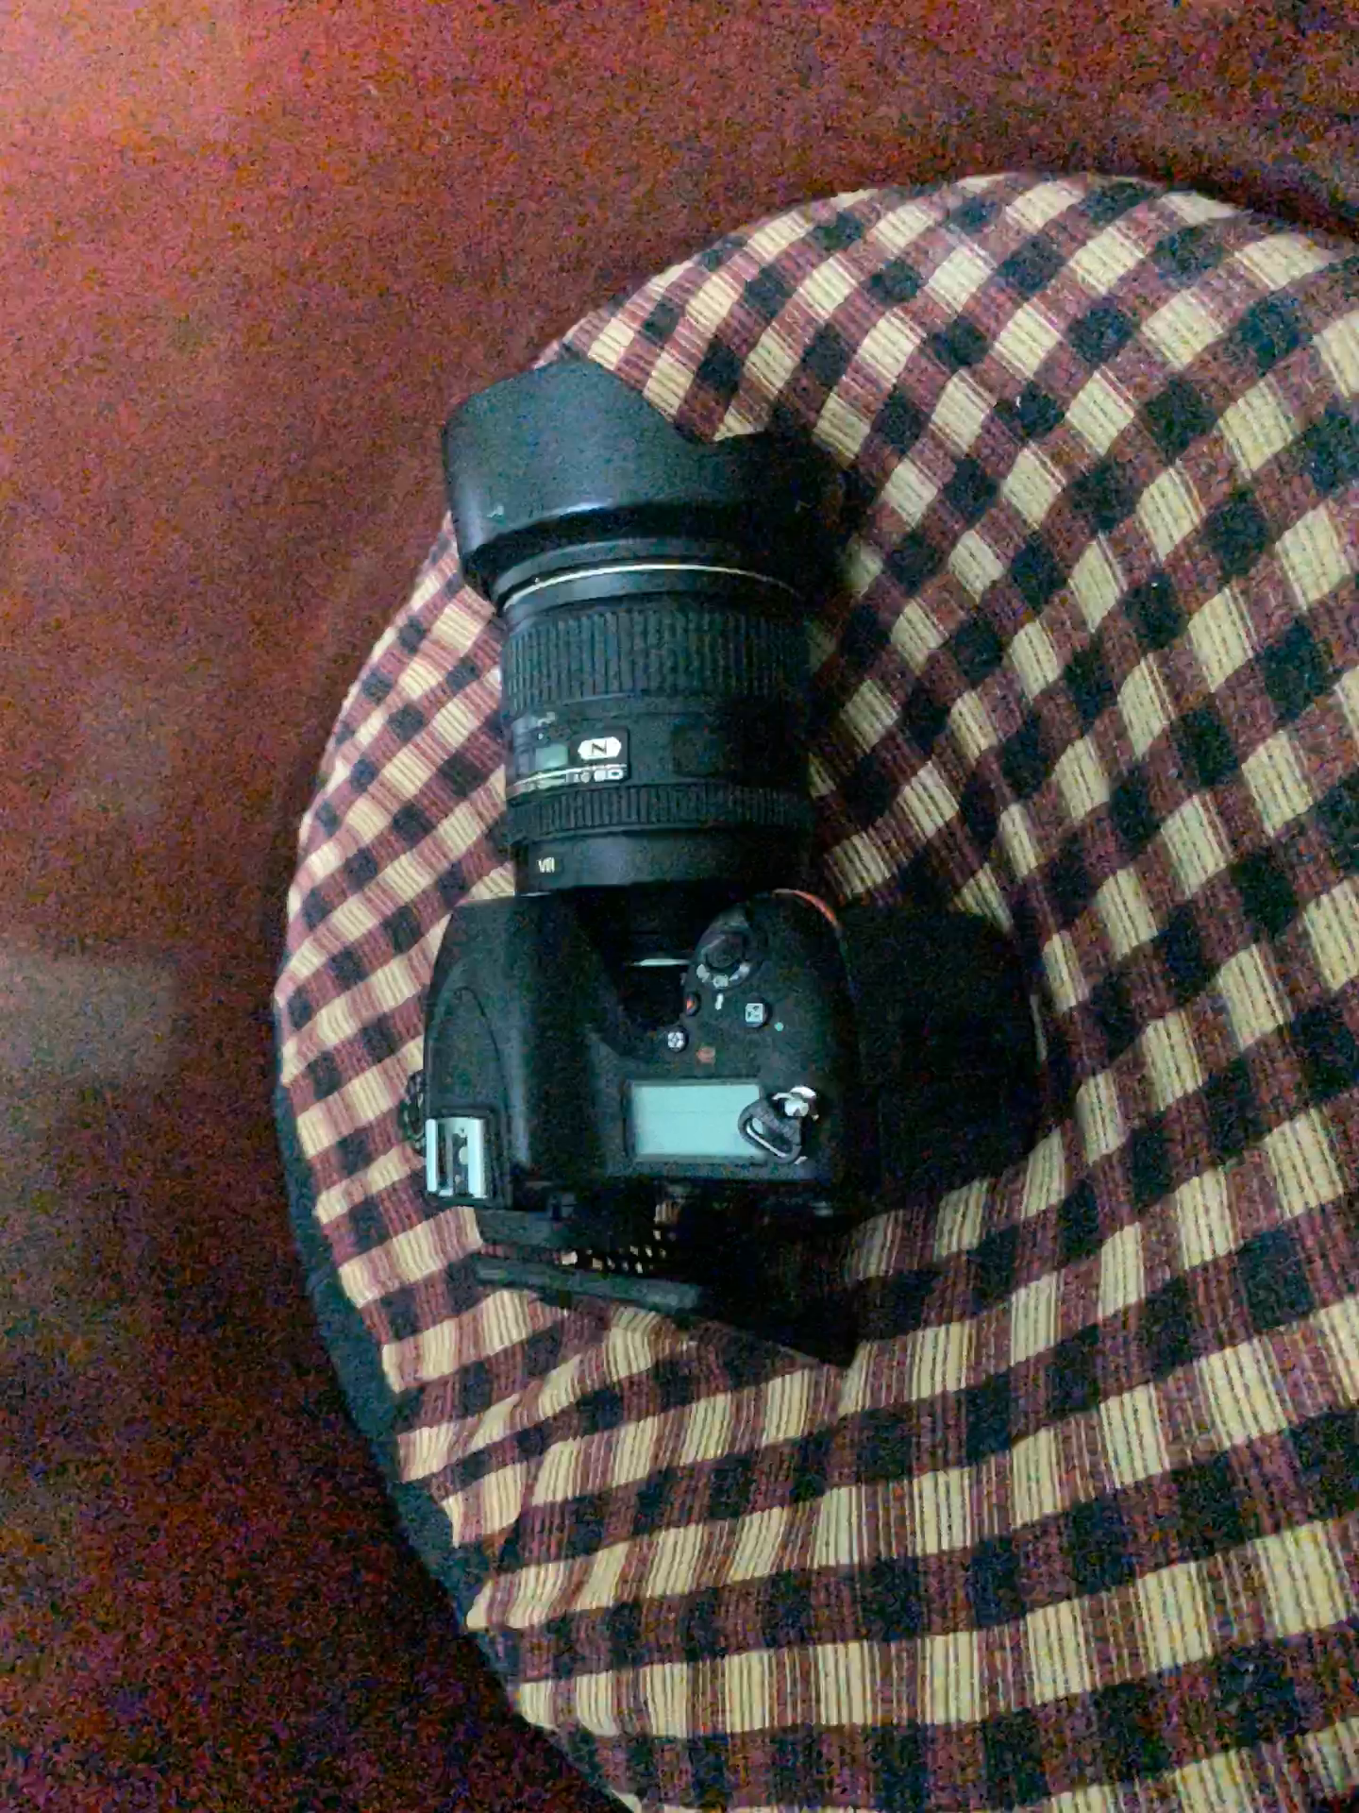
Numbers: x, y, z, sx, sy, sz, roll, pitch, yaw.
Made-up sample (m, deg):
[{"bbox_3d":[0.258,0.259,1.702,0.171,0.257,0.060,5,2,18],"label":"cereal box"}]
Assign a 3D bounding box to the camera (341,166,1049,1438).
[{"bbox_3d":[0.003,-0.016,0.354,0.141,0.101,0.250,-7,79,46],"label":"camera"}]
